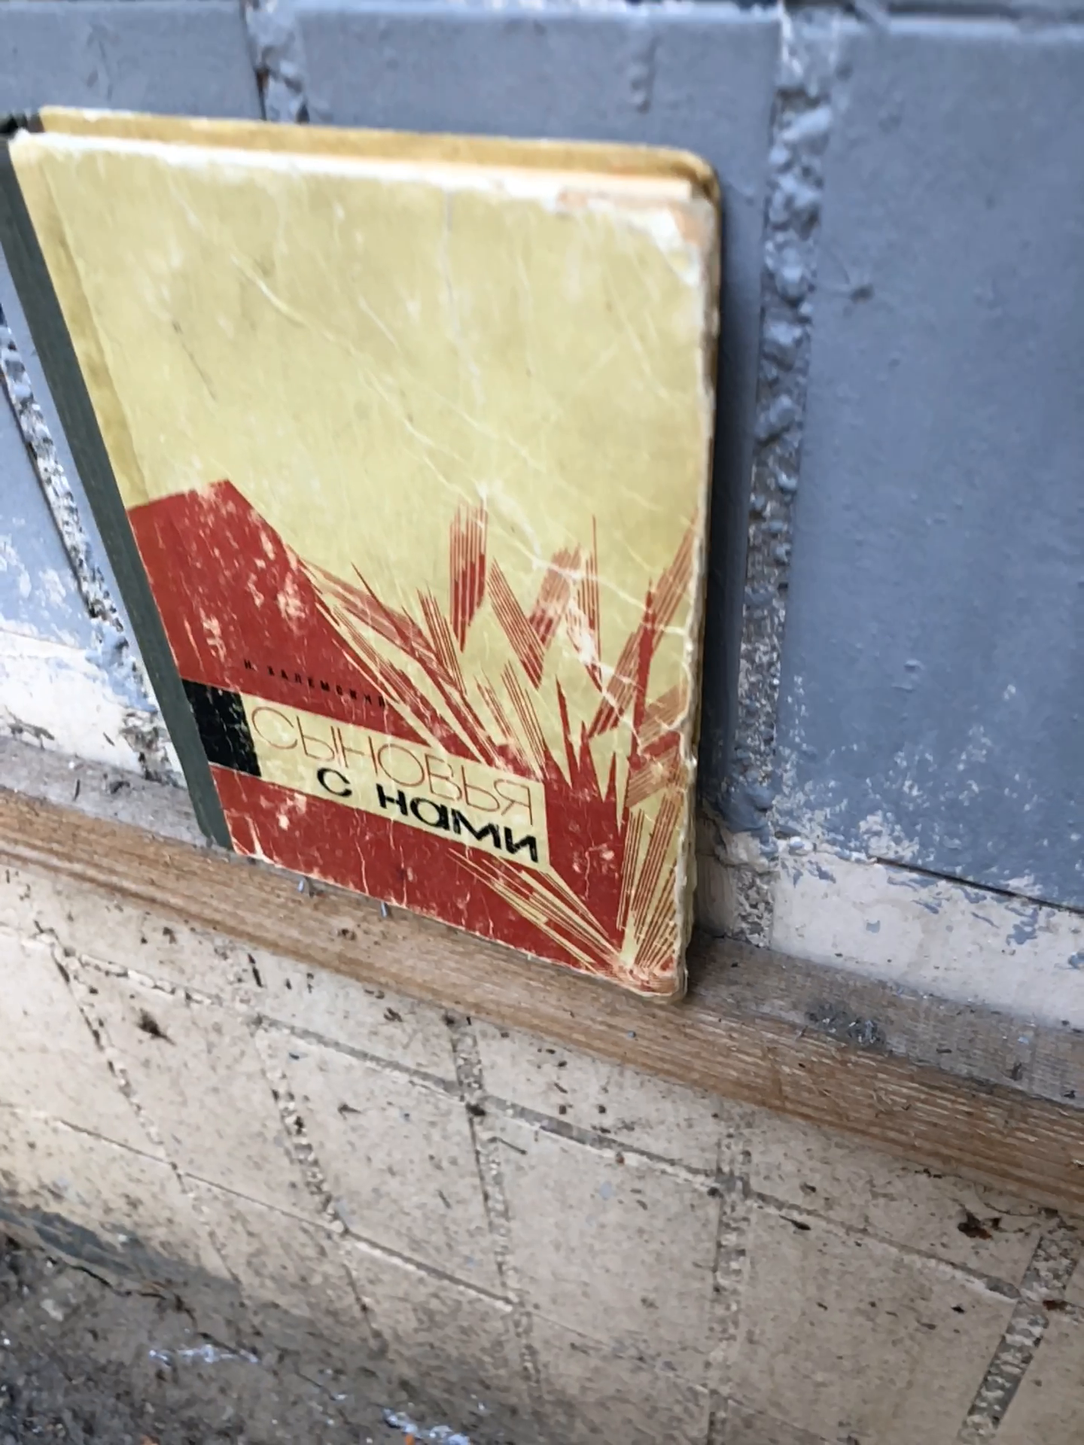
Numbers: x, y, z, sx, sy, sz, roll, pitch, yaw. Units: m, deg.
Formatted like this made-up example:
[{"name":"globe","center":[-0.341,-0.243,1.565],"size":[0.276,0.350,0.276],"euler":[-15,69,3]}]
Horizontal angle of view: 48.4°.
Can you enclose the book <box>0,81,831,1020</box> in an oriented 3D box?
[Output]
[{"name":"book","center":[-0.026,-0.029,0.235],"size":[0.140,0.162,0.032],"euler":[15,41,21]}]
